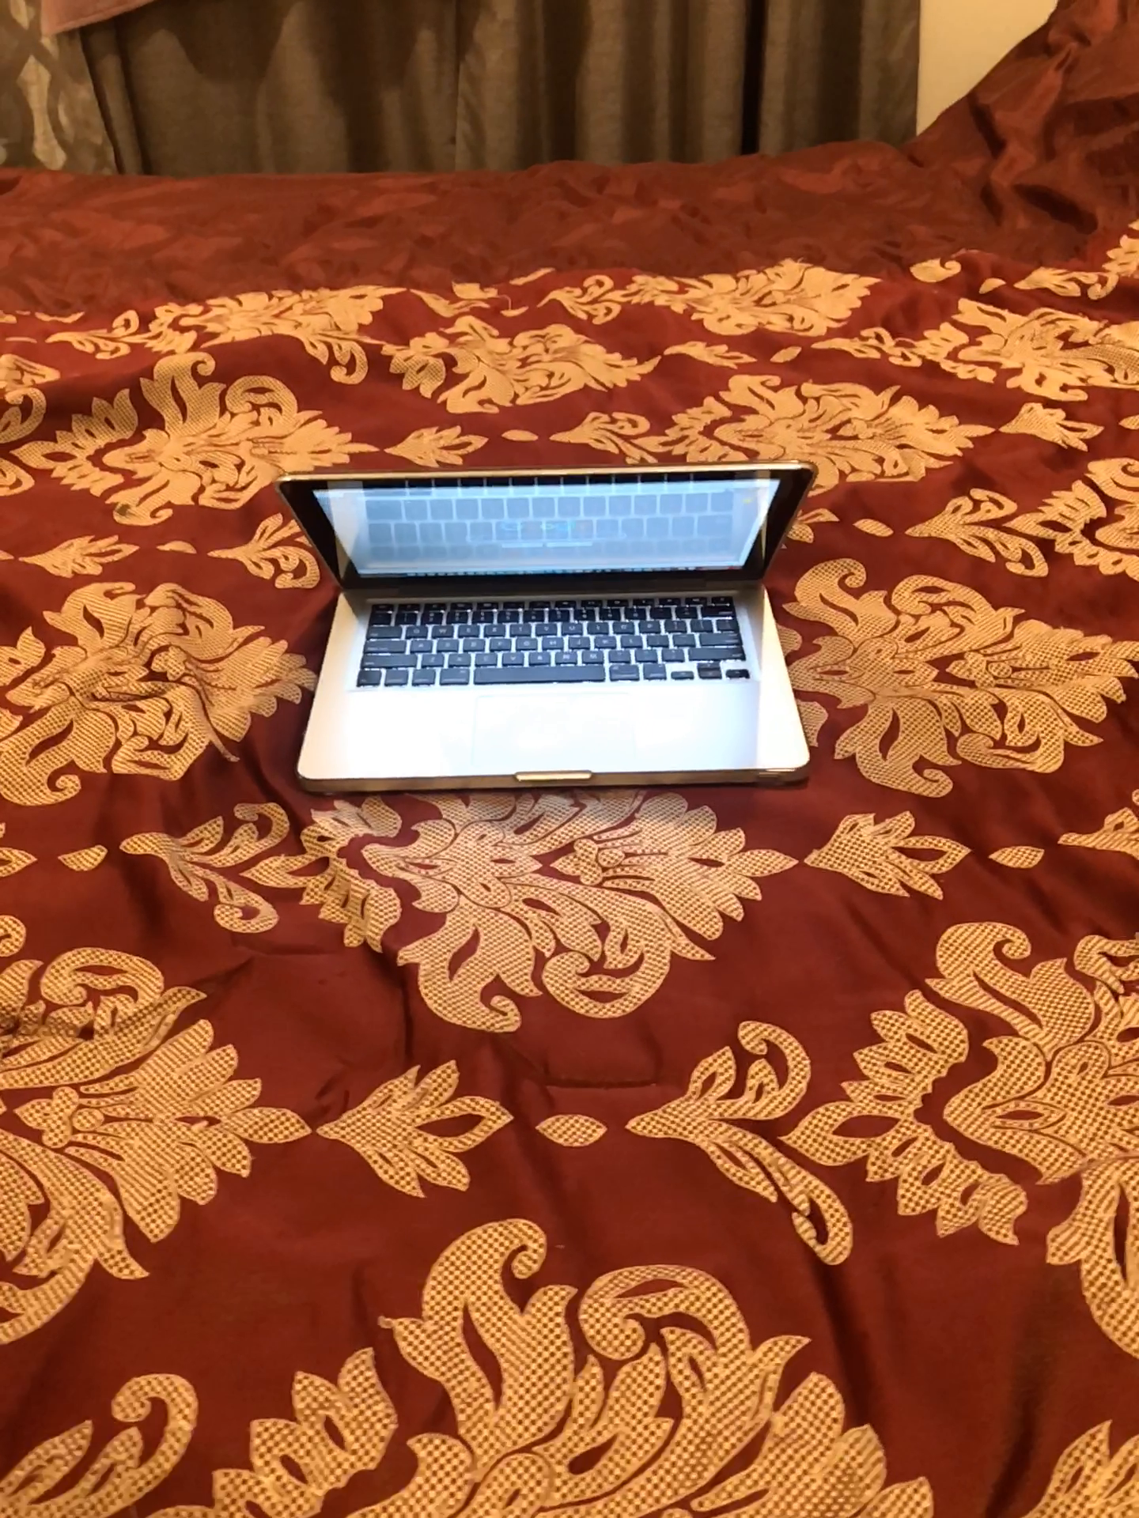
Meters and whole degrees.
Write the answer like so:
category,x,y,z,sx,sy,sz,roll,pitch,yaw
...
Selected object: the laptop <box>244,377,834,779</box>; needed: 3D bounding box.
category,x,y,z,sx,sy,sz,roll,pitch,yaw
laptop,-0.014,-0.120,0.795,0.312,0.156,0.213,-2,39,-1
